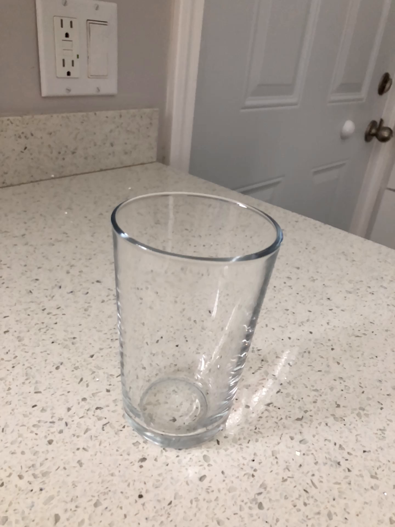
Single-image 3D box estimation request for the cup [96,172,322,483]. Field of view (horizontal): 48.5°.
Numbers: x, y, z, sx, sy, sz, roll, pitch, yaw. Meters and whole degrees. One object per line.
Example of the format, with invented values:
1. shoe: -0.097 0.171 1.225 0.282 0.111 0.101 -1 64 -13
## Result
1. cup: 0.004 0.027 0.212 0.080 0.114 0.074 5 28 -3
